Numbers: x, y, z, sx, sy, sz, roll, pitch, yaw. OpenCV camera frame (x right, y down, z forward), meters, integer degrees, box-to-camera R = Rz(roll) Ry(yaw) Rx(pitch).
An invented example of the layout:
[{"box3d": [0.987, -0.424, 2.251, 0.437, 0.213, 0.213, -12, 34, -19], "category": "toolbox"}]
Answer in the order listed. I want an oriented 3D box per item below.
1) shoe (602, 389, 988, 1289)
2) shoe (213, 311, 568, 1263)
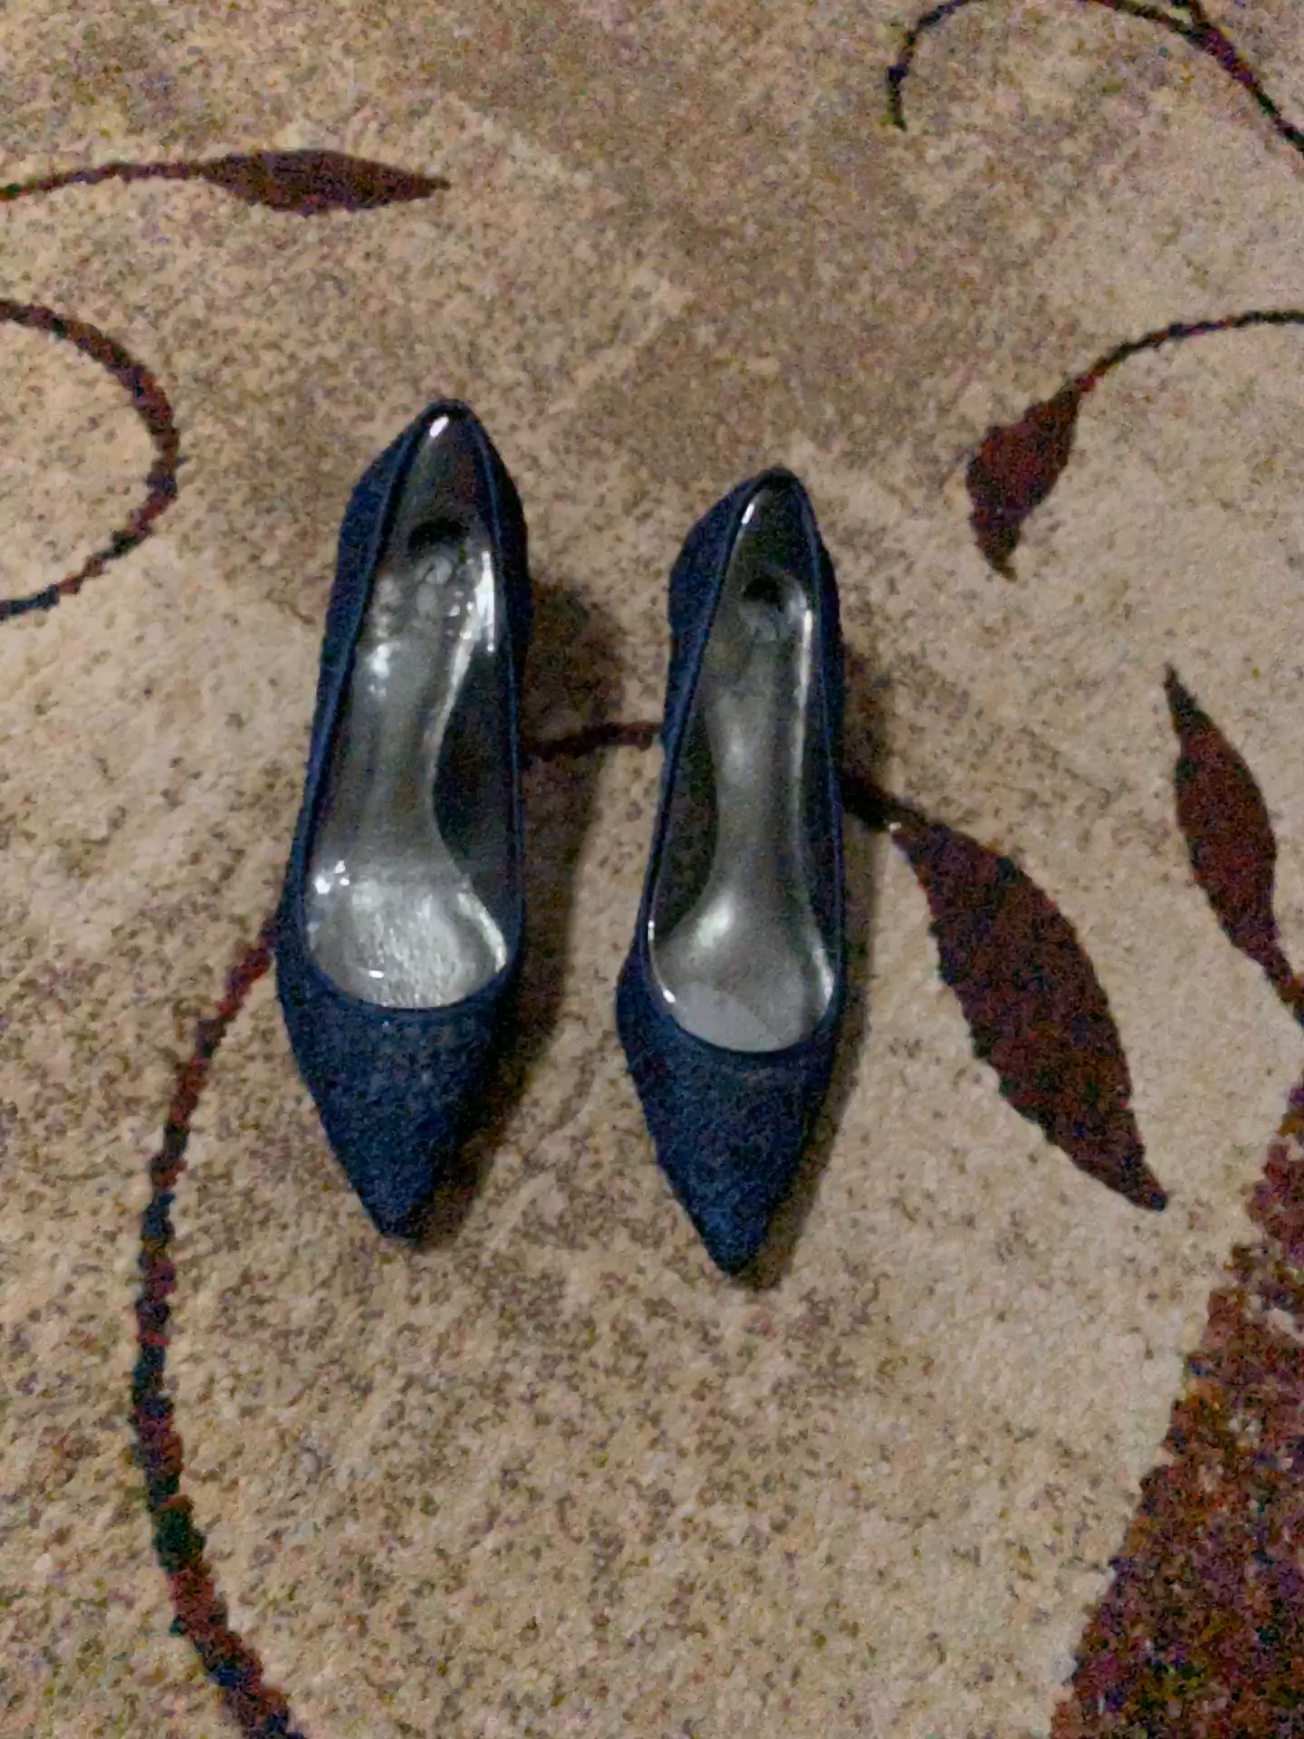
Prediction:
[{"box3d": [0.035, -0.013, 0.451, 0.088, 0.089, 0.284, 3, 67, -11], "category": "shoe"}, {"box3d": [-0.077, -0.030, 0.437, 0.088, 0.089, 0.293, 3, 67, -11], "category": "shoe"}]
